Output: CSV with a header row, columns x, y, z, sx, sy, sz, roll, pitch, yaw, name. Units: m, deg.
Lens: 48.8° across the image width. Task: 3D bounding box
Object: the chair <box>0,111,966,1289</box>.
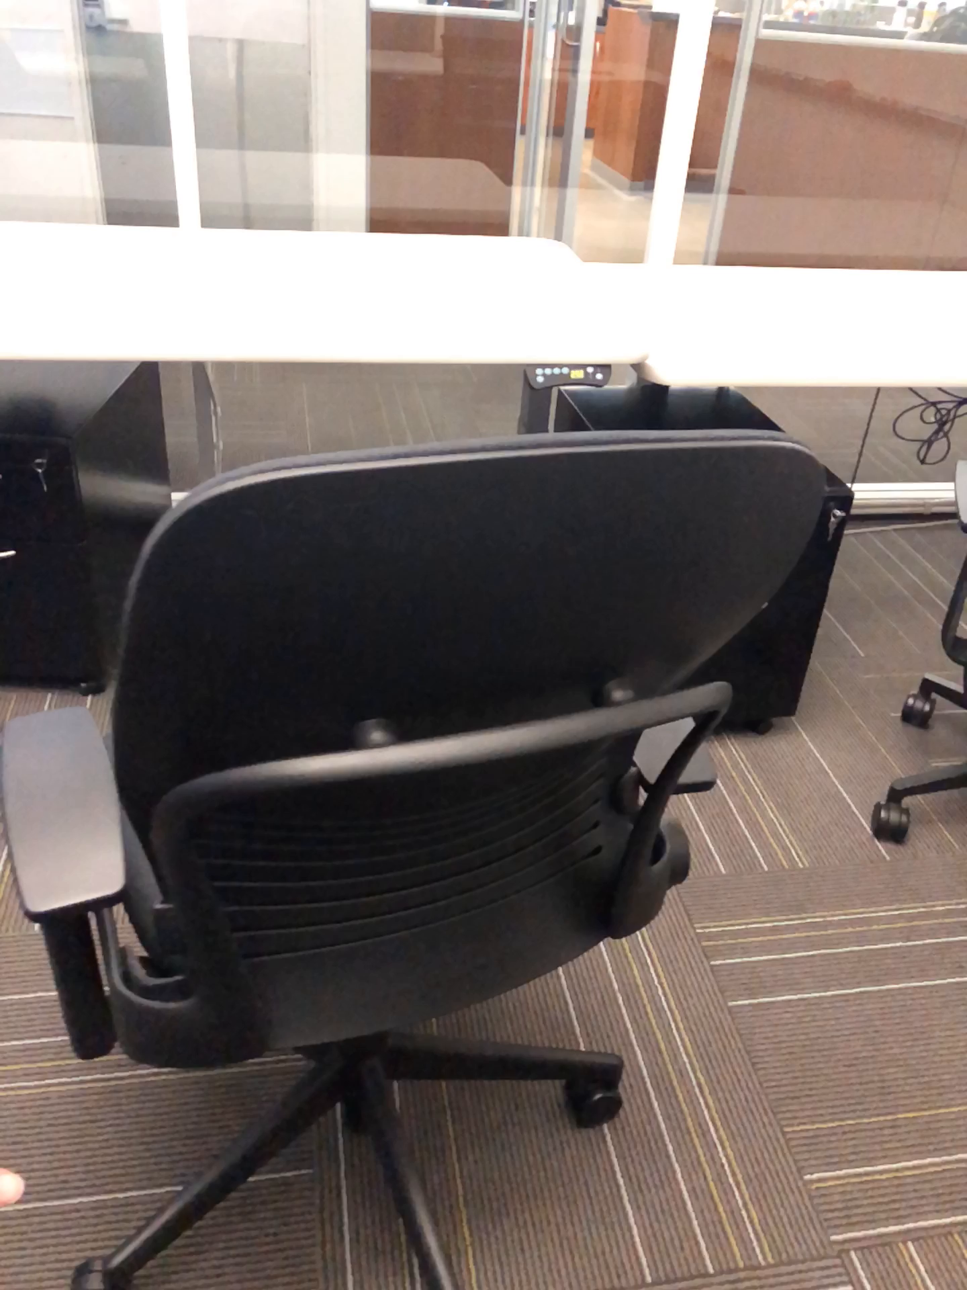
x,y,z,sx,sy,sz,roll,pitch,yaw,name
-0.137,0.102,1.066,0.730,1.035,0.834,-9,35,-21,chair
